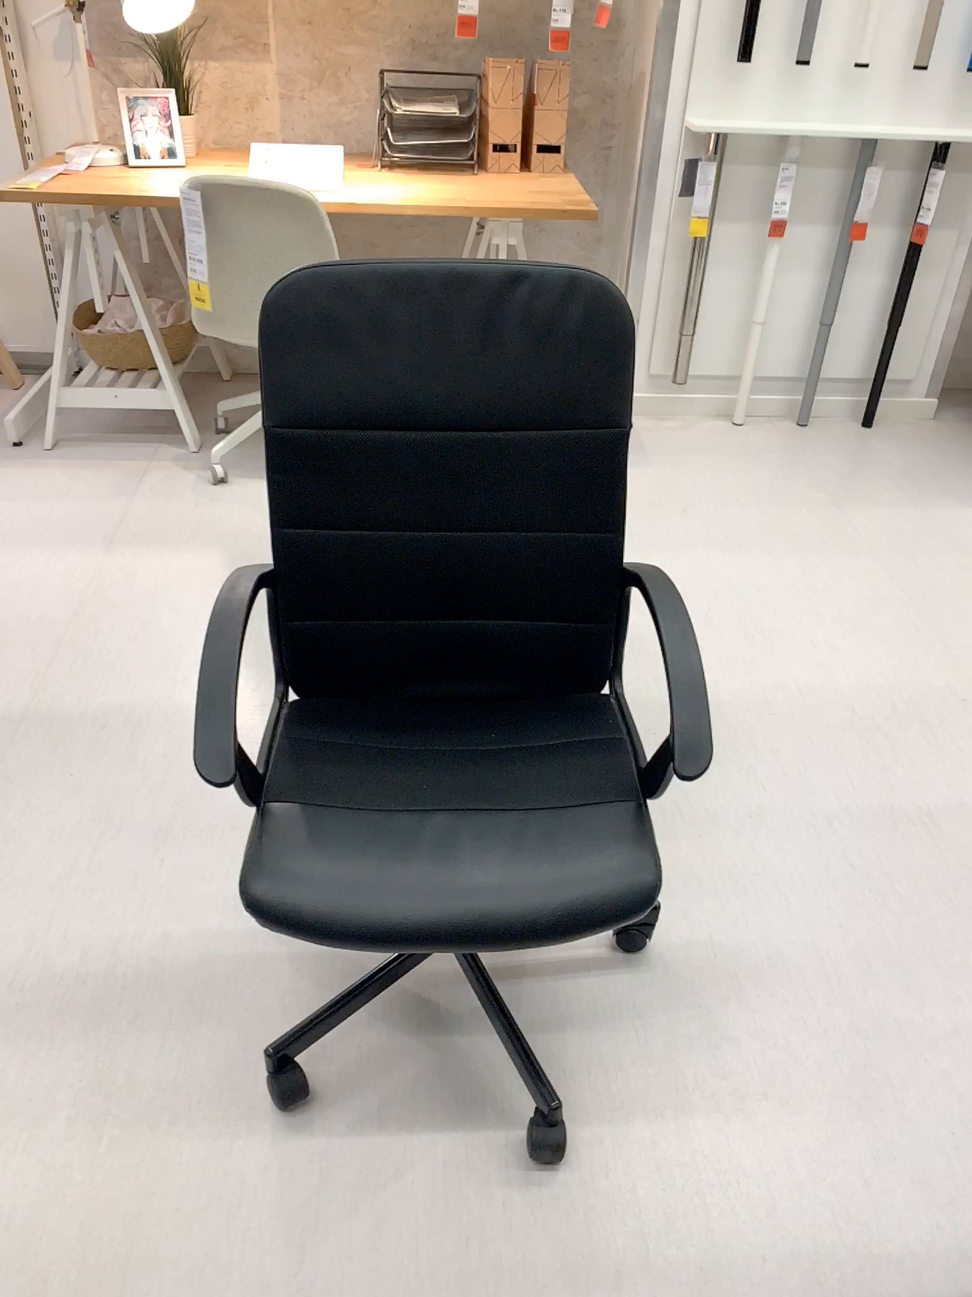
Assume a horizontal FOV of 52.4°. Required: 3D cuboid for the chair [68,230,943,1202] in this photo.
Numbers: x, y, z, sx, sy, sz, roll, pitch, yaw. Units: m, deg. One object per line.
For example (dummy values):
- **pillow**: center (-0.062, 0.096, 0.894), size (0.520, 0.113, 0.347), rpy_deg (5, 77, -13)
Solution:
- **chair**: center (-0.023, 0.093, 1.201), size (0.610, 0.996, 0.582), rpy_deg (-1, 34, -6)
